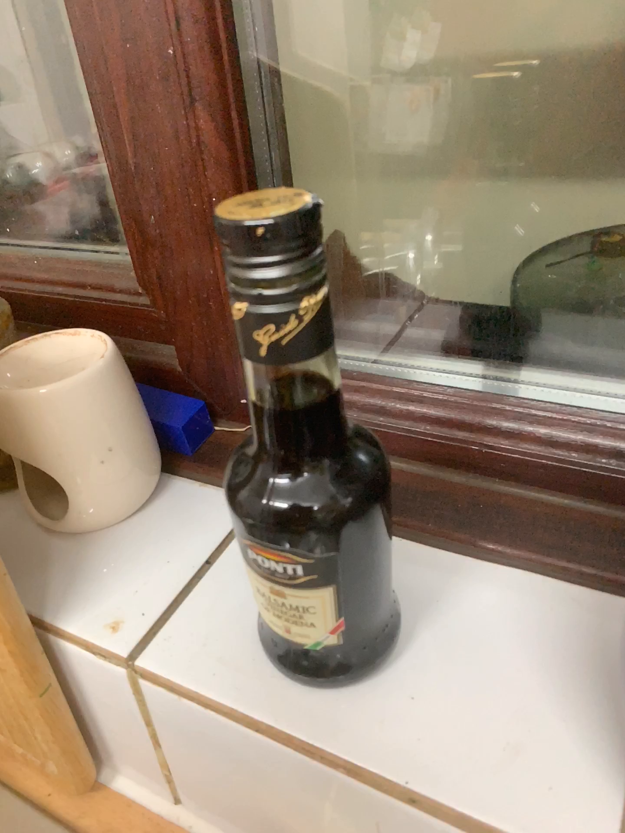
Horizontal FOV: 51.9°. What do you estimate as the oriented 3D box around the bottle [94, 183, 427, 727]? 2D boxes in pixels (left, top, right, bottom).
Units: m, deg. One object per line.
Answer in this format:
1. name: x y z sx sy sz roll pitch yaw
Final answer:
1. bottle: -0.004 0.017 0.234 0.070 0.178 0.071 -5 32 3
